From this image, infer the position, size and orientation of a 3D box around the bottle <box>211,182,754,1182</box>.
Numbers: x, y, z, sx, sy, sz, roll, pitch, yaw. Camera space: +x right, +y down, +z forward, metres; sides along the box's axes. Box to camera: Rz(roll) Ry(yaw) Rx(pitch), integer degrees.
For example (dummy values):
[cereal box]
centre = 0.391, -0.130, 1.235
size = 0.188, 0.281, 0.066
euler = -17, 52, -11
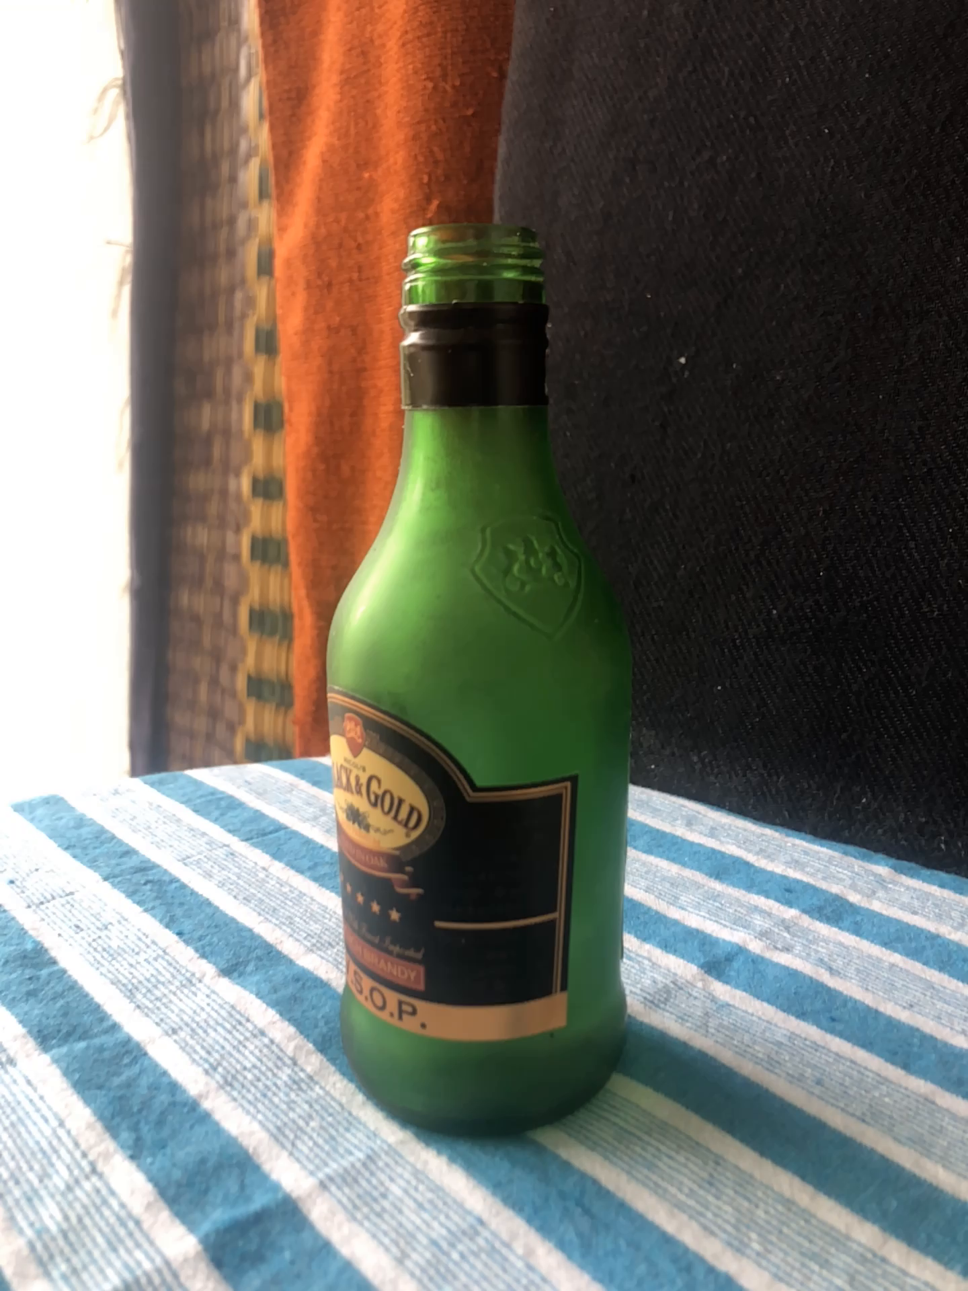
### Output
[bottle]
centre = -0.001, 0.002, 0.185
size = 0.060, 0.140, 0.060
euler = 0, 15, 0
